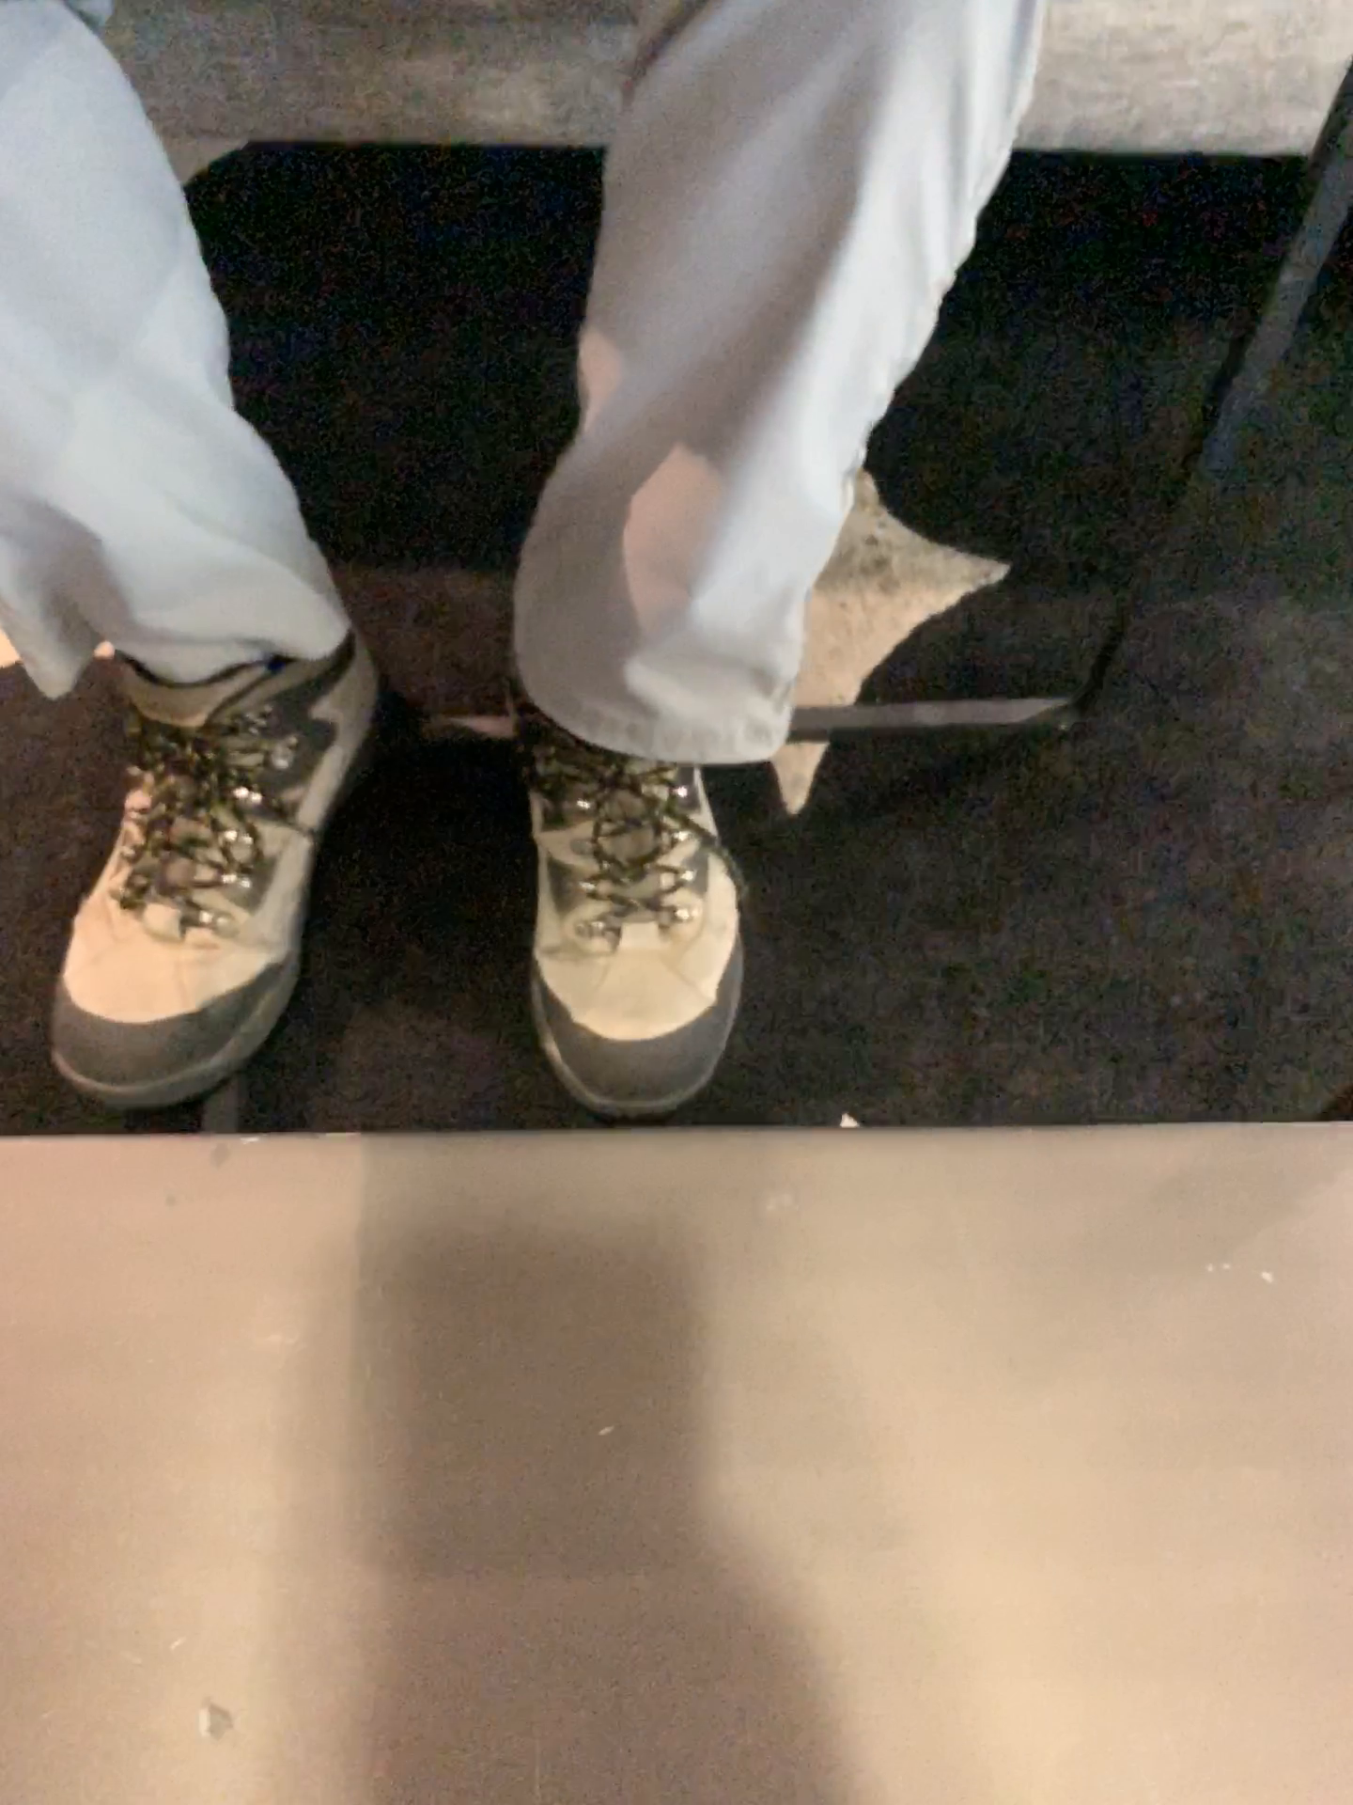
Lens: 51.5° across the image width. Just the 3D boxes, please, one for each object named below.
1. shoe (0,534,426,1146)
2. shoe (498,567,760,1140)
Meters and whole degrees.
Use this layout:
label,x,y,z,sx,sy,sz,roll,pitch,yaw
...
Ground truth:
label,x,y,z,sx,sy,sz,roll,pitch,yaw
shoe,-0.244,-0.036,0.726,0.123,0.090,0.285,14,69,8
shoe,-0.025,-0.033,0.754,0.121,0.080,0.304,-1,64,0
